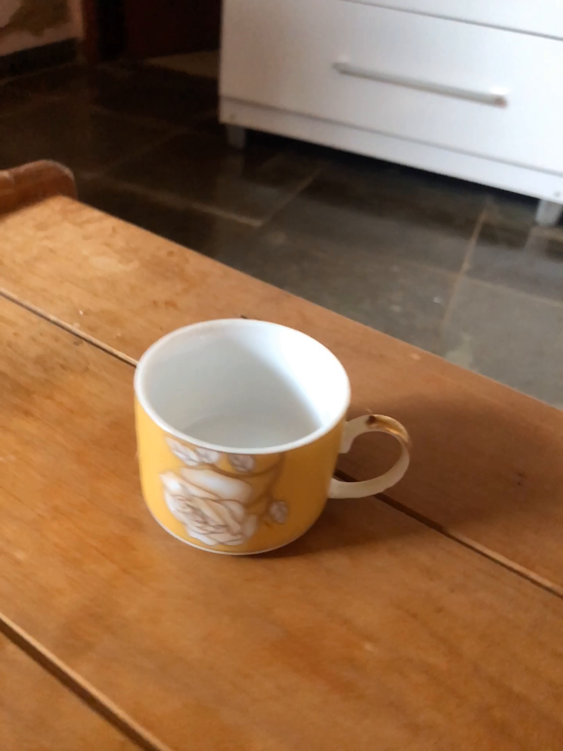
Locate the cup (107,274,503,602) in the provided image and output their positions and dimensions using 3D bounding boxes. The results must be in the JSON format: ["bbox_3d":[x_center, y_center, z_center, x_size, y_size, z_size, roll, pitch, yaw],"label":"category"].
[{"bbox_3d":[0.006,0.015,0.185,0.090,0.050,0.071,8,38,1],"label":"cup"}]
